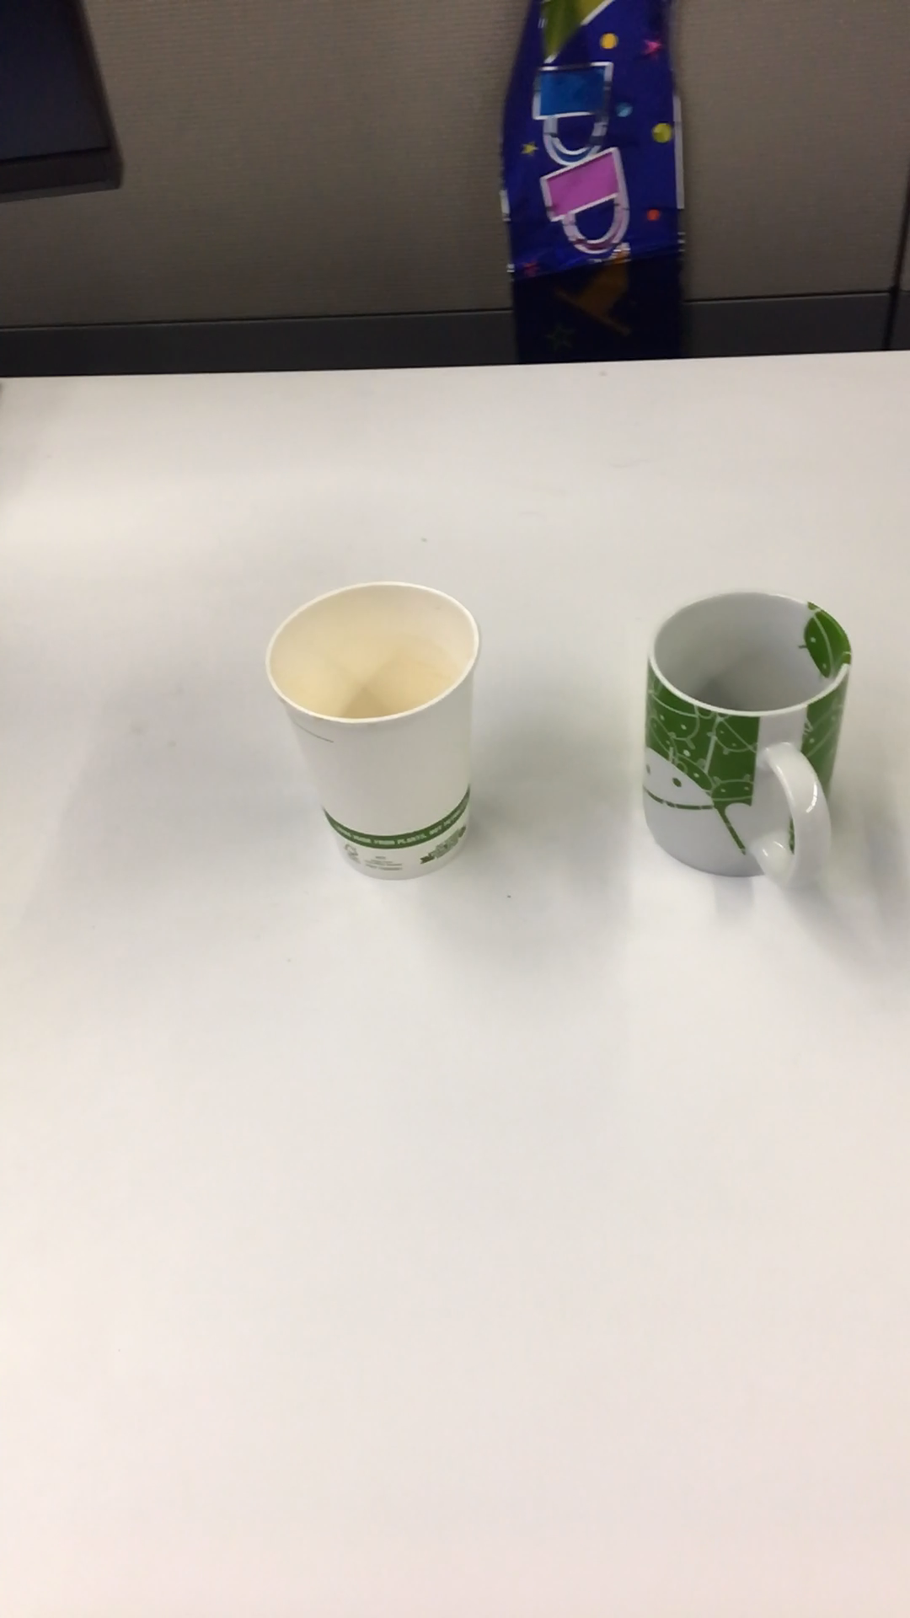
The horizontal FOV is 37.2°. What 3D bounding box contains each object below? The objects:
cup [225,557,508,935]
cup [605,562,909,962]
[{"bbox_3d":[-0.036,-0.026,0.566,0.090,0.110,0.090,-3,46,3],"label":"cup"},{"bbox_3d":[0.123,-0.021,0.554,0.090,0.090,0.120,-13,46,-7],"label":"cup"}]
